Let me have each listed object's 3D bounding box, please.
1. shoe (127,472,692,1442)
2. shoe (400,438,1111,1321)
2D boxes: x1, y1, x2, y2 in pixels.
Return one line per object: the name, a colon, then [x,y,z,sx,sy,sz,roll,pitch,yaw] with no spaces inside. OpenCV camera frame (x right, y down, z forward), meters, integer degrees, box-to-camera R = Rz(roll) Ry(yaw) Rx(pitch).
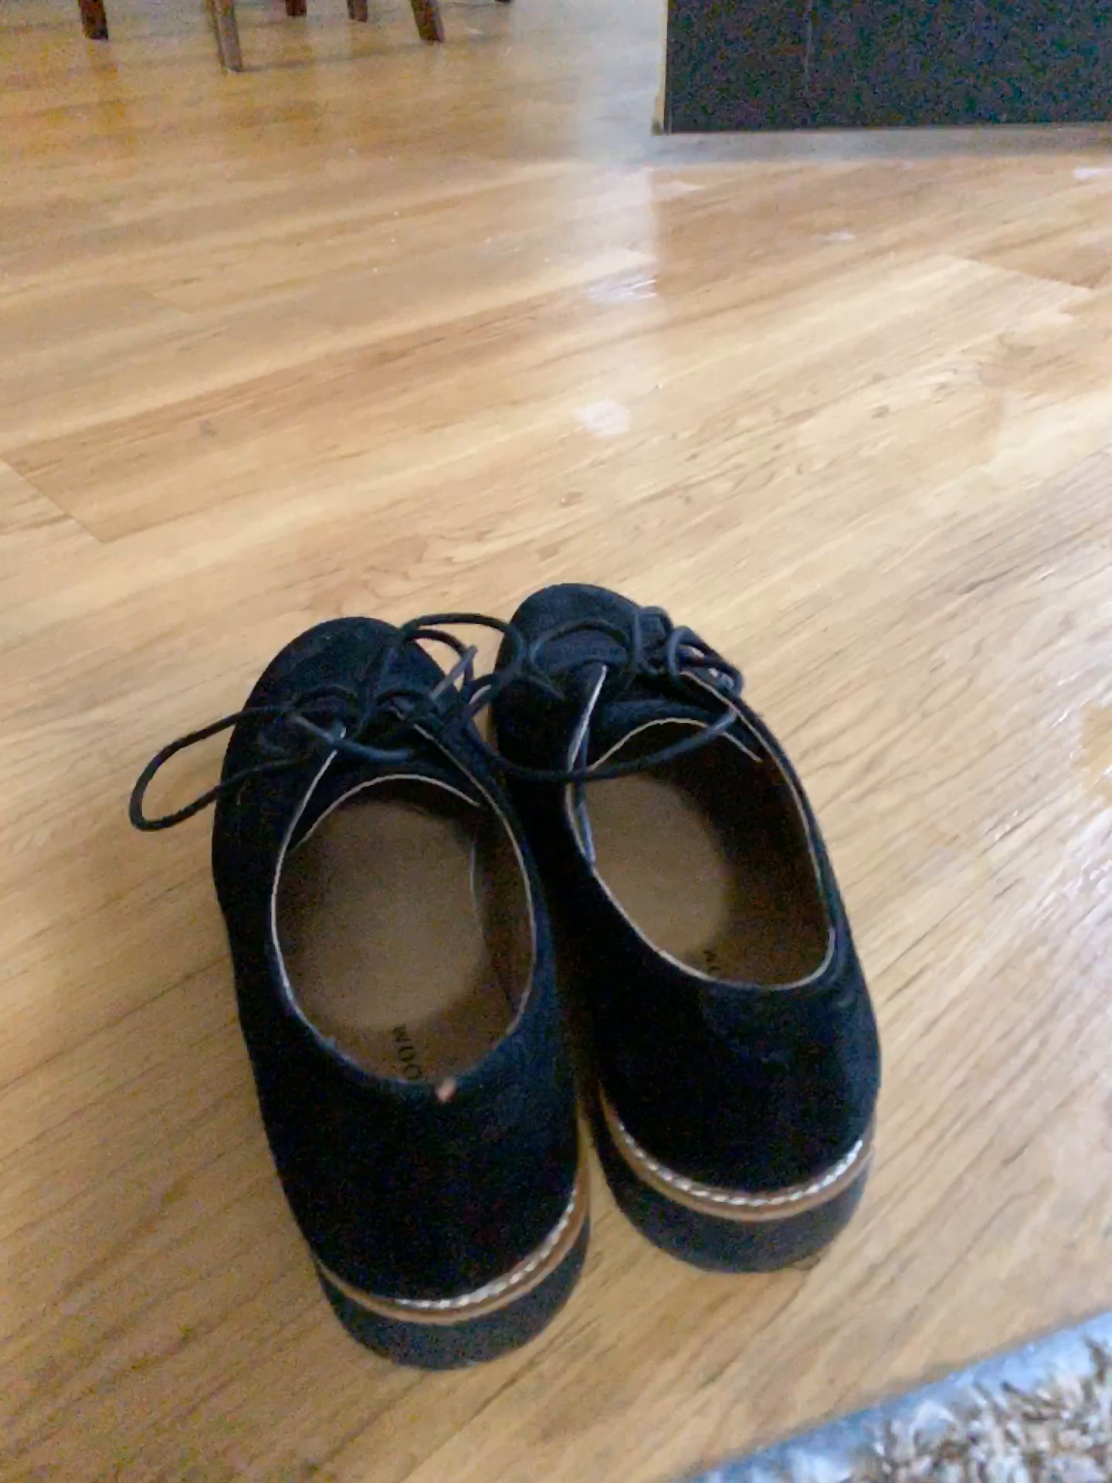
shoe: [-0.068,0.020,0.349,0.100,0.070,0.311,-12,39,-13]
shoe: [0.027,0.002,0.366,0.110,0.070,0.311,-9,39,-10]
